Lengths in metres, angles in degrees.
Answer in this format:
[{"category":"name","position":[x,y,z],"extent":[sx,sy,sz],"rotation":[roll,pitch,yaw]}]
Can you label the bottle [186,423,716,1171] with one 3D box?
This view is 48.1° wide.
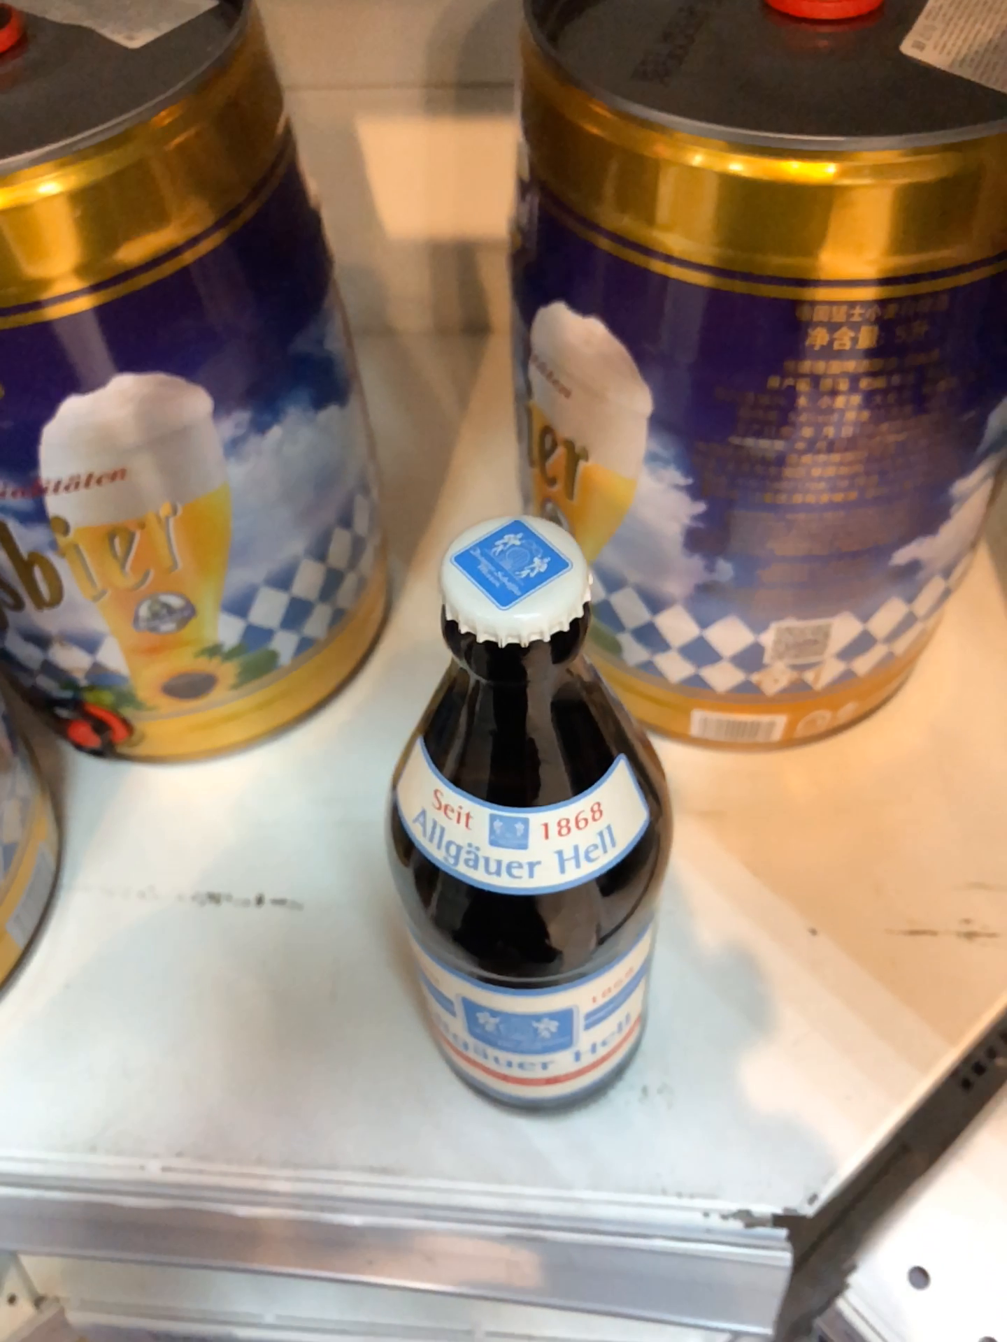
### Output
[{"category":"bottle","position":[0.003,0.051,0.280],"extent":[0.080,0.219,0.080],"rotation":[-2,53,3]}]
